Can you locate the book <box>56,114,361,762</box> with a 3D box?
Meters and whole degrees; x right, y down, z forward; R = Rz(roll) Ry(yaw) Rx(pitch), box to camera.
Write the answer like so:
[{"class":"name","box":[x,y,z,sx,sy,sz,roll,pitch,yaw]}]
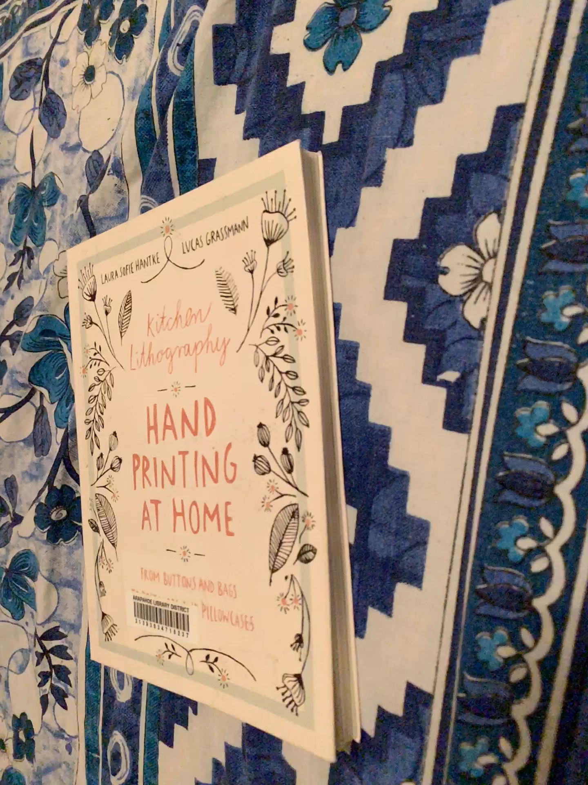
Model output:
[{"class":"book","box":[-0.052,0.019,0.271,0.171,0.020,0.220,-6,85,42]}]
